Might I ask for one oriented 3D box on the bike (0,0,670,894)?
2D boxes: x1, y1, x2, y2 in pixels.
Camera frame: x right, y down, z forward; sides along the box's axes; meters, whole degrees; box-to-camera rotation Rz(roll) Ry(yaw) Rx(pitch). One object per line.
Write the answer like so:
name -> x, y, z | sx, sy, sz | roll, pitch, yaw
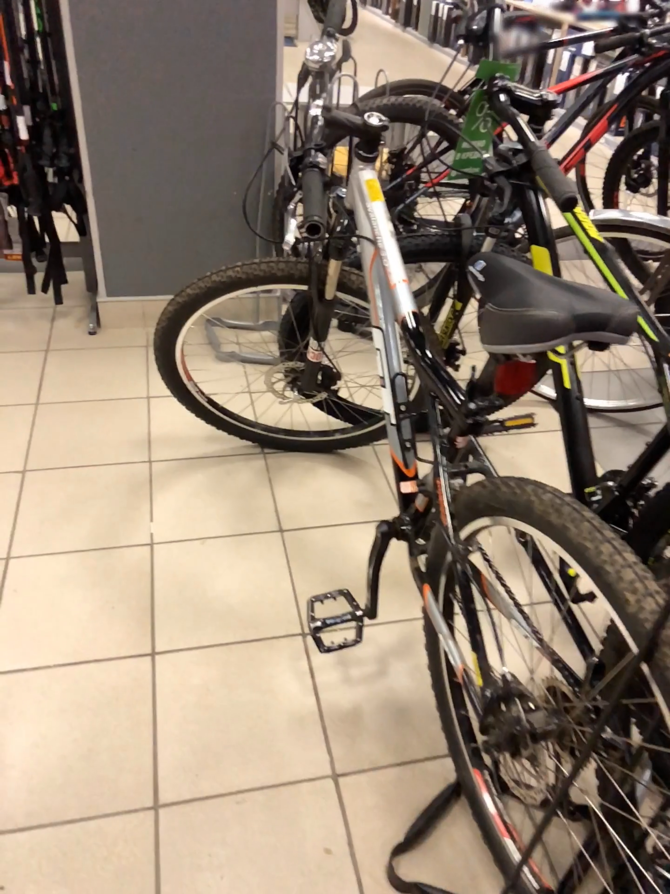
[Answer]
bike -> 0.055, -0.025, 1.052 | 0.626, 1.012, 1.430 | -17, 43, -28
